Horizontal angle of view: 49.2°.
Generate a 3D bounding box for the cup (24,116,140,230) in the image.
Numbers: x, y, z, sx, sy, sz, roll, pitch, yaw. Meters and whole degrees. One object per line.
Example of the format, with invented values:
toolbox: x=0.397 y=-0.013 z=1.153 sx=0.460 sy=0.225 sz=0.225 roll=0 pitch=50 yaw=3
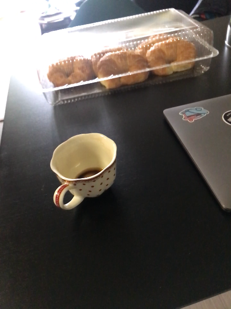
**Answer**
cup: x=-0.039 y=0.018 z=0.349 sx=0.090 sy=0.070 sz=0.121 roll=22 pitch=50 yaw=31
